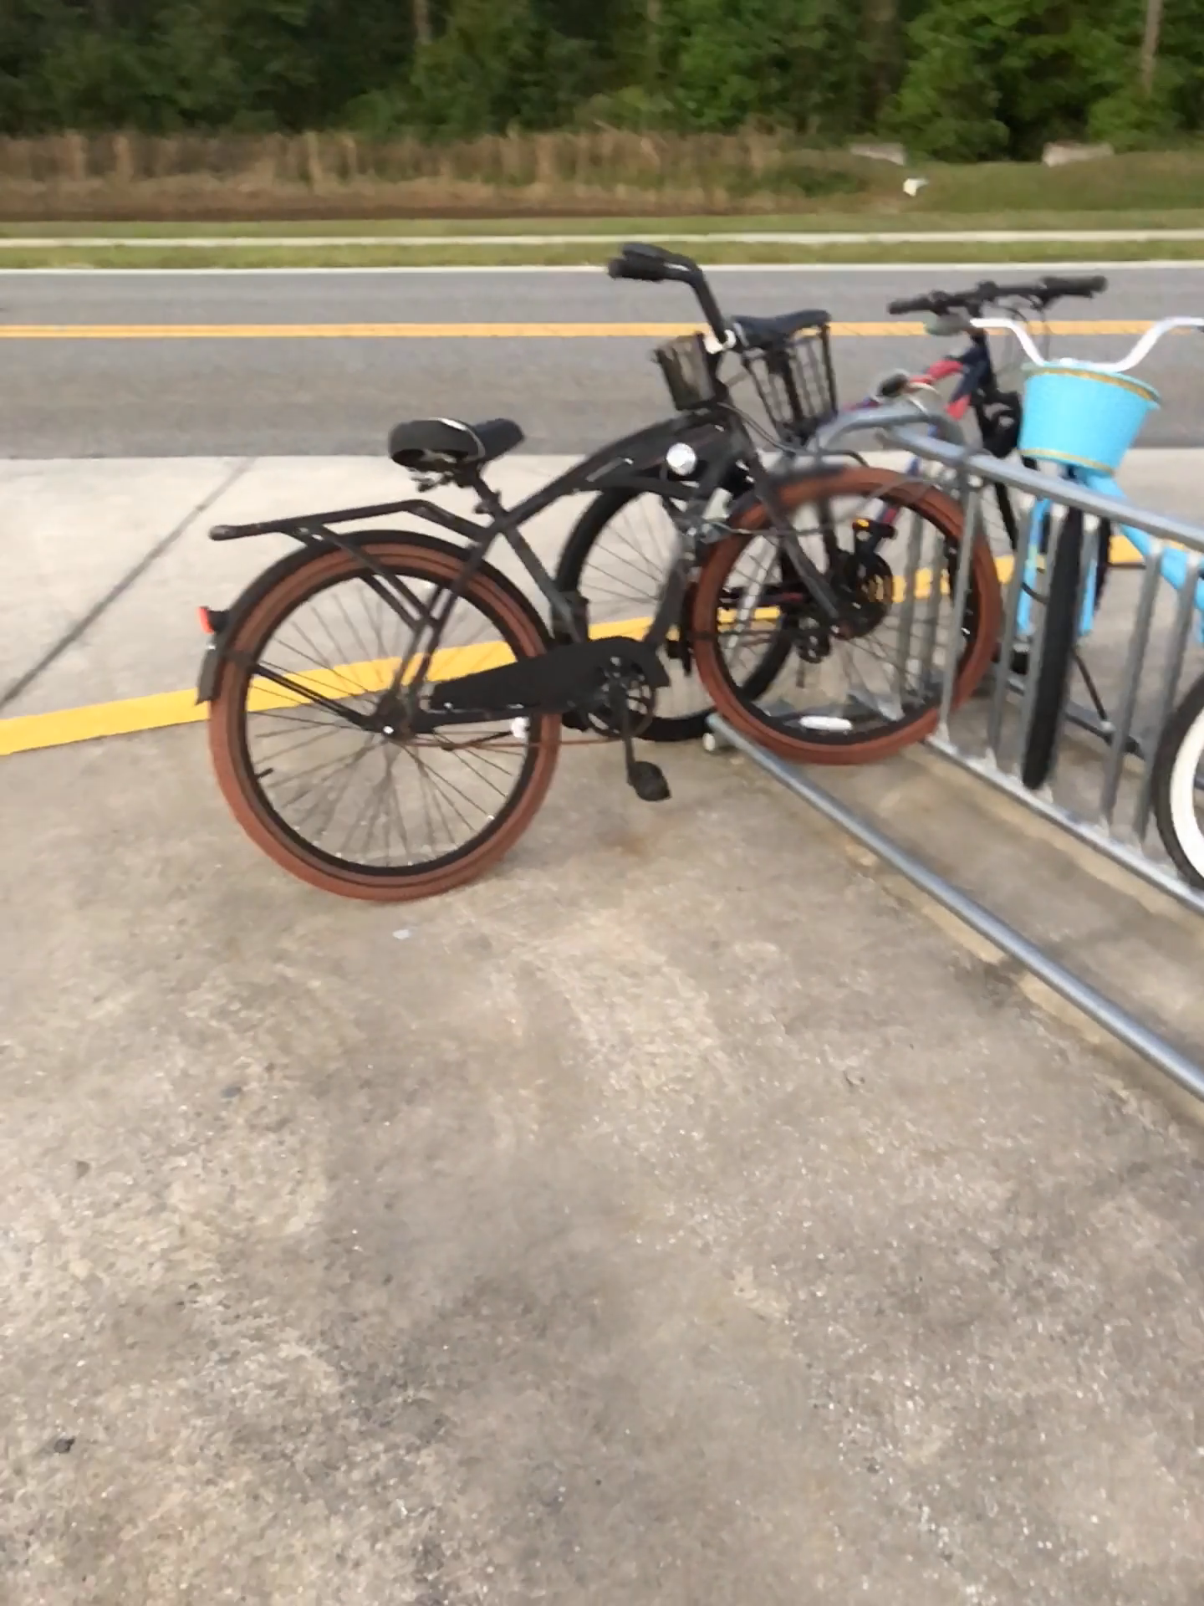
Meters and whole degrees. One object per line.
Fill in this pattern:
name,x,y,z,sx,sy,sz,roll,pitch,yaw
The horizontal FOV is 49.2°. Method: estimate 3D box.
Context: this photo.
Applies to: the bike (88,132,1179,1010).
bike,0.052,-0.579,2.632,1.722,1.117,0.833,-19,32,-21
